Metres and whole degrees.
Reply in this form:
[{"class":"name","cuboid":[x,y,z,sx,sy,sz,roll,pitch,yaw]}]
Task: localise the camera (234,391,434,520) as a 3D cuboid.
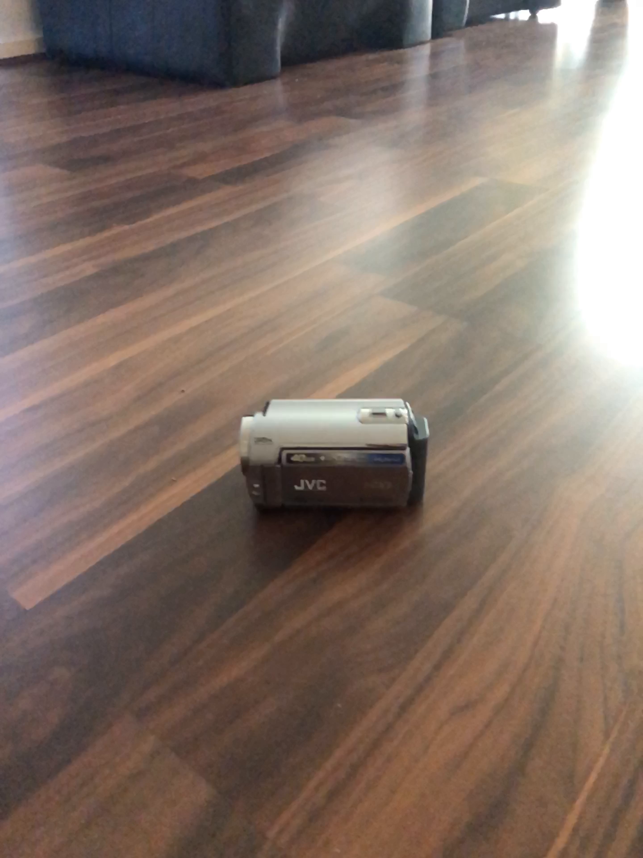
[{"class":"camera","cuboid":[0.010,0.016,0.467,0.120,0.060,0.060,0,34,4]}]
